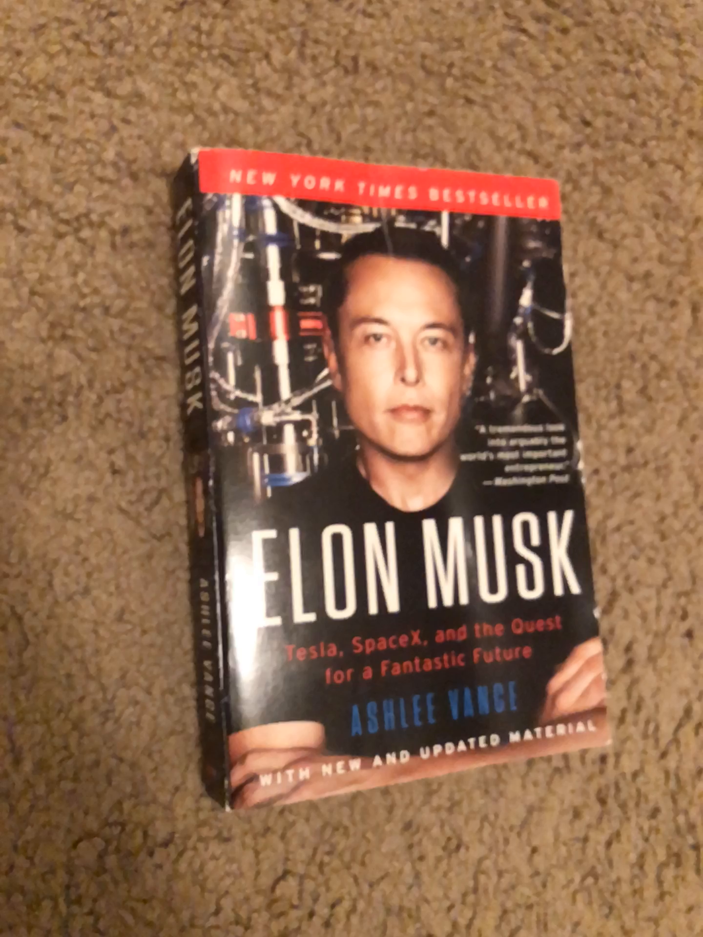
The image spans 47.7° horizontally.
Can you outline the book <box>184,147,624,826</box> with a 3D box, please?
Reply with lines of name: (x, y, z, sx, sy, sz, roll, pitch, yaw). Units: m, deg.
book: (0.018, 0.002, 0.273, 0.136, 0.033, 0.202, -2, 86, -18)
